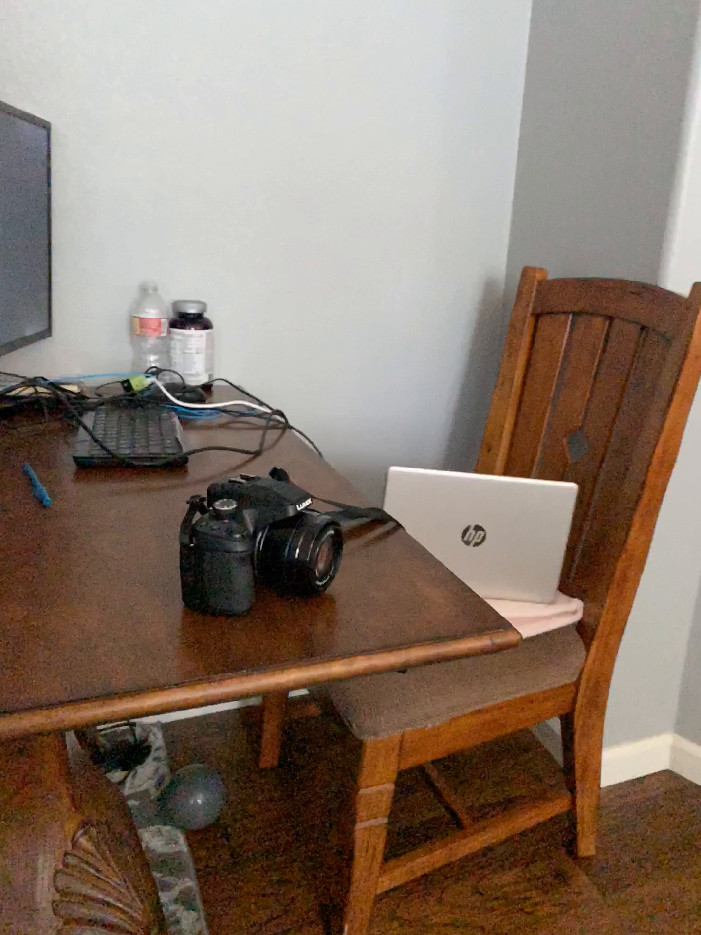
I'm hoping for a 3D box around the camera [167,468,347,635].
[{"bbox_3d":[-0.082,0.070,0.664,0.110,0.089,0.131,10,20,21],"label":"camera"}]
